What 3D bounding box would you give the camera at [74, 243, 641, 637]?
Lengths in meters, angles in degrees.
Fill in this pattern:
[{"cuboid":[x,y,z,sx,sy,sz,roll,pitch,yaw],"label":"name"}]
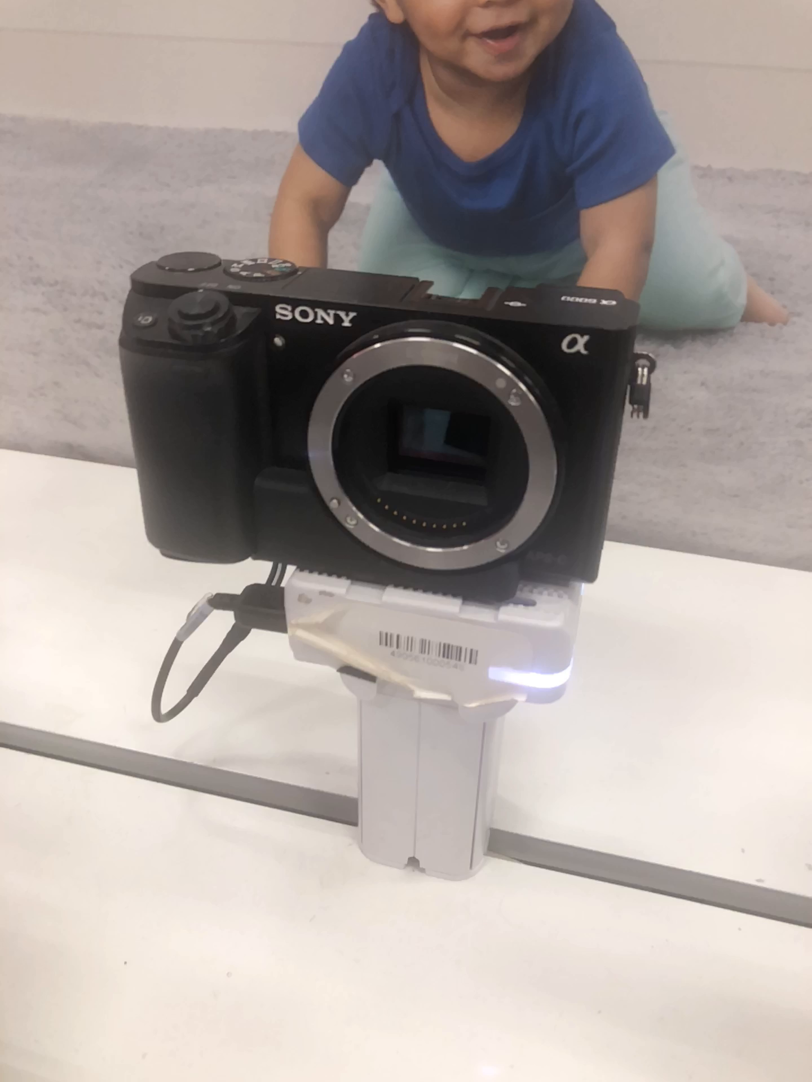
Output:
[{"cuboid":[-0.010,-0.027,0.219,0.120,0.070,0.040,9,31,10],"label":"camera"}]
